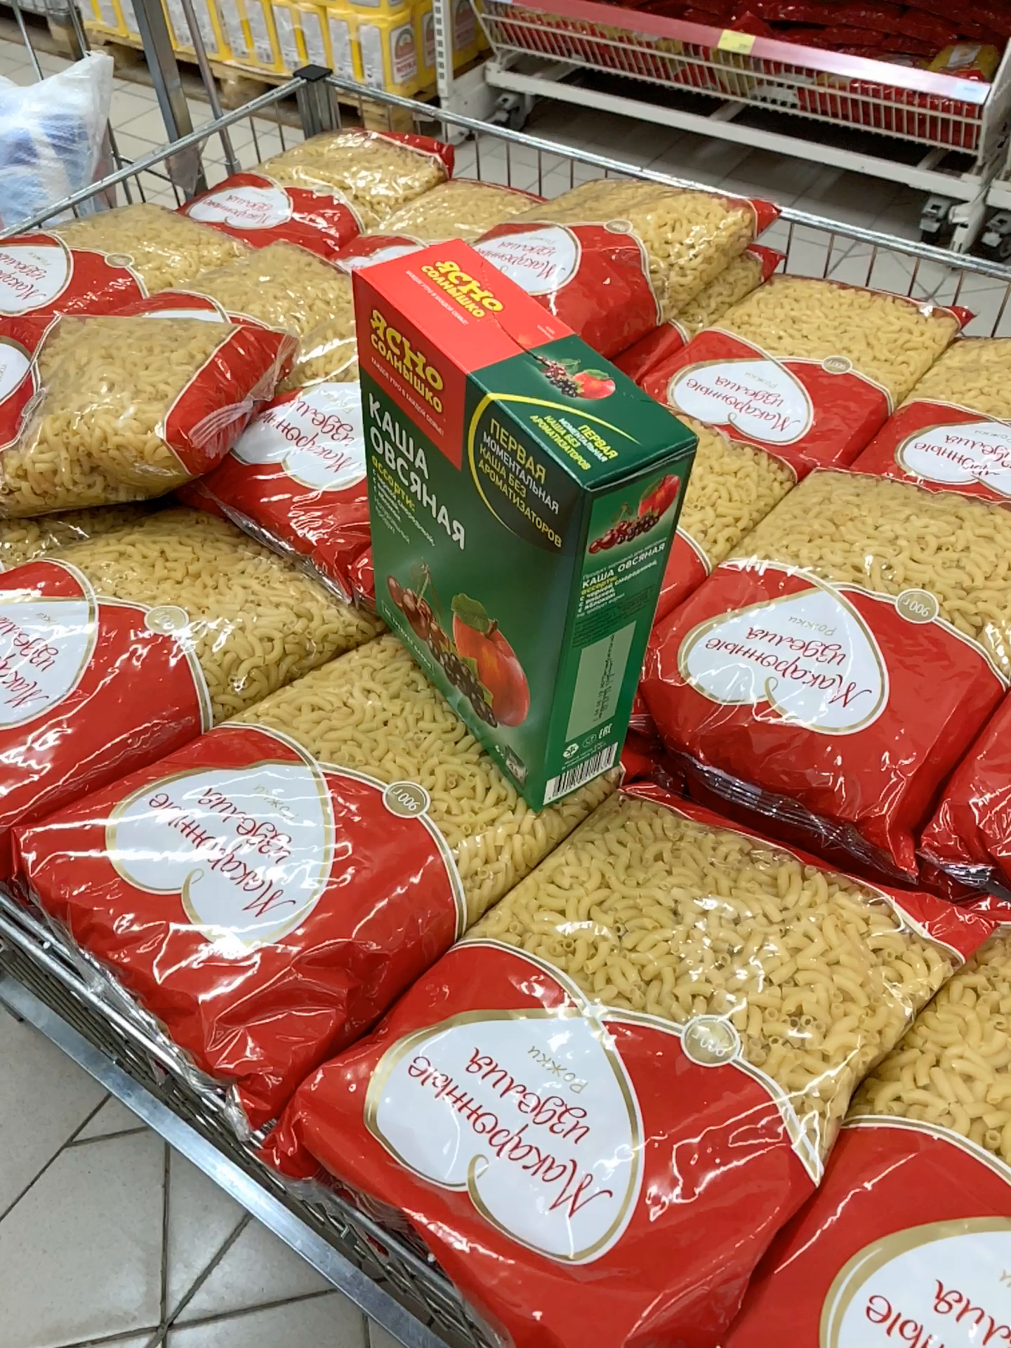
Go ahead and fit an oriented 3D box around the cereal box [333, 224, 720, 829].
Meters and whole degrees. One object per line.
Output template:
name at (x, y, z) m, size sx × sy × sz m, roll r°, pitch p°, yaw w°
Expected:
cereal box at (-0.004, -0.057, 0.451) m, size 0.060 × 0.198 × 0.161 m, roll -25°, pitch 57°, yaw -23°
